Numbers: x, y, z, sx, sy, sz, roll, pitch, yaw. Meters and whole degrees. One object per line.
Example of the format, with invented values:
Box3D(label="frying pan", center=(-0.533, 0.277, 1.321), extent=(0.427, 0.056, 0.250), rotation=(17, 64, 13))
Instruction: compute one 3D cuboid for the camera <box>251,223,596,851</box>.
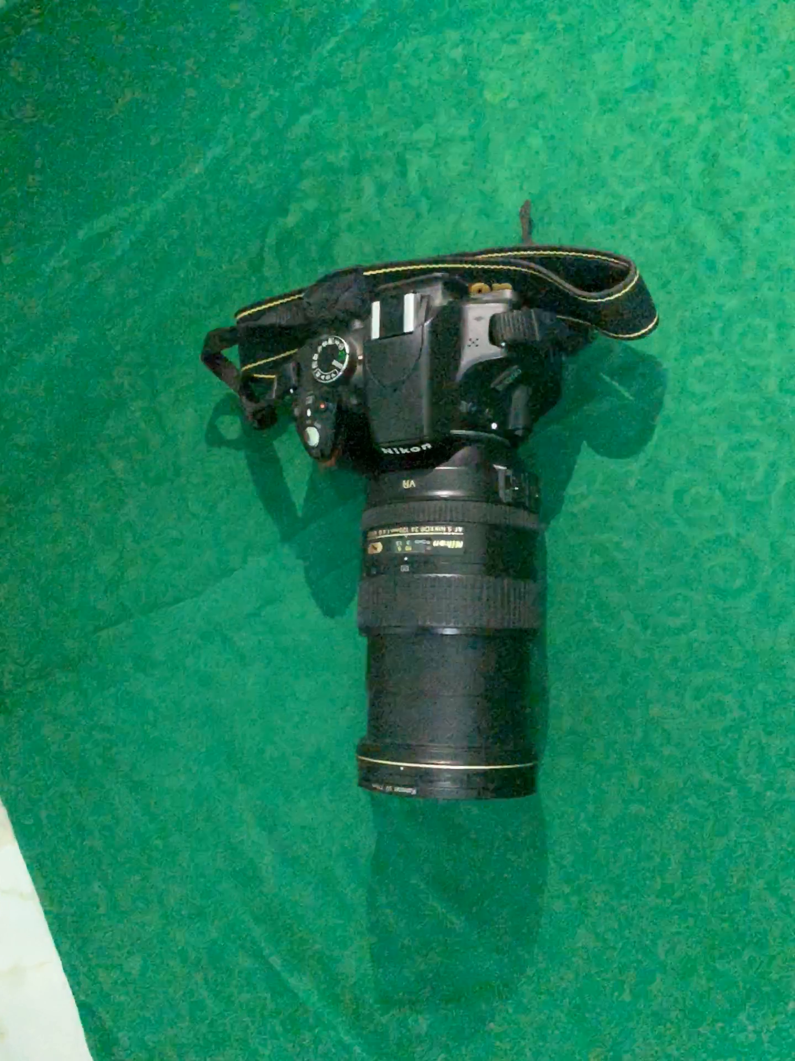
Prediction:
Box3D(label="camera", center=(0.013, 0.006, 0.369), extent=(0.123, 0.088, 0.234), rotation=(-5, 80, 28))
